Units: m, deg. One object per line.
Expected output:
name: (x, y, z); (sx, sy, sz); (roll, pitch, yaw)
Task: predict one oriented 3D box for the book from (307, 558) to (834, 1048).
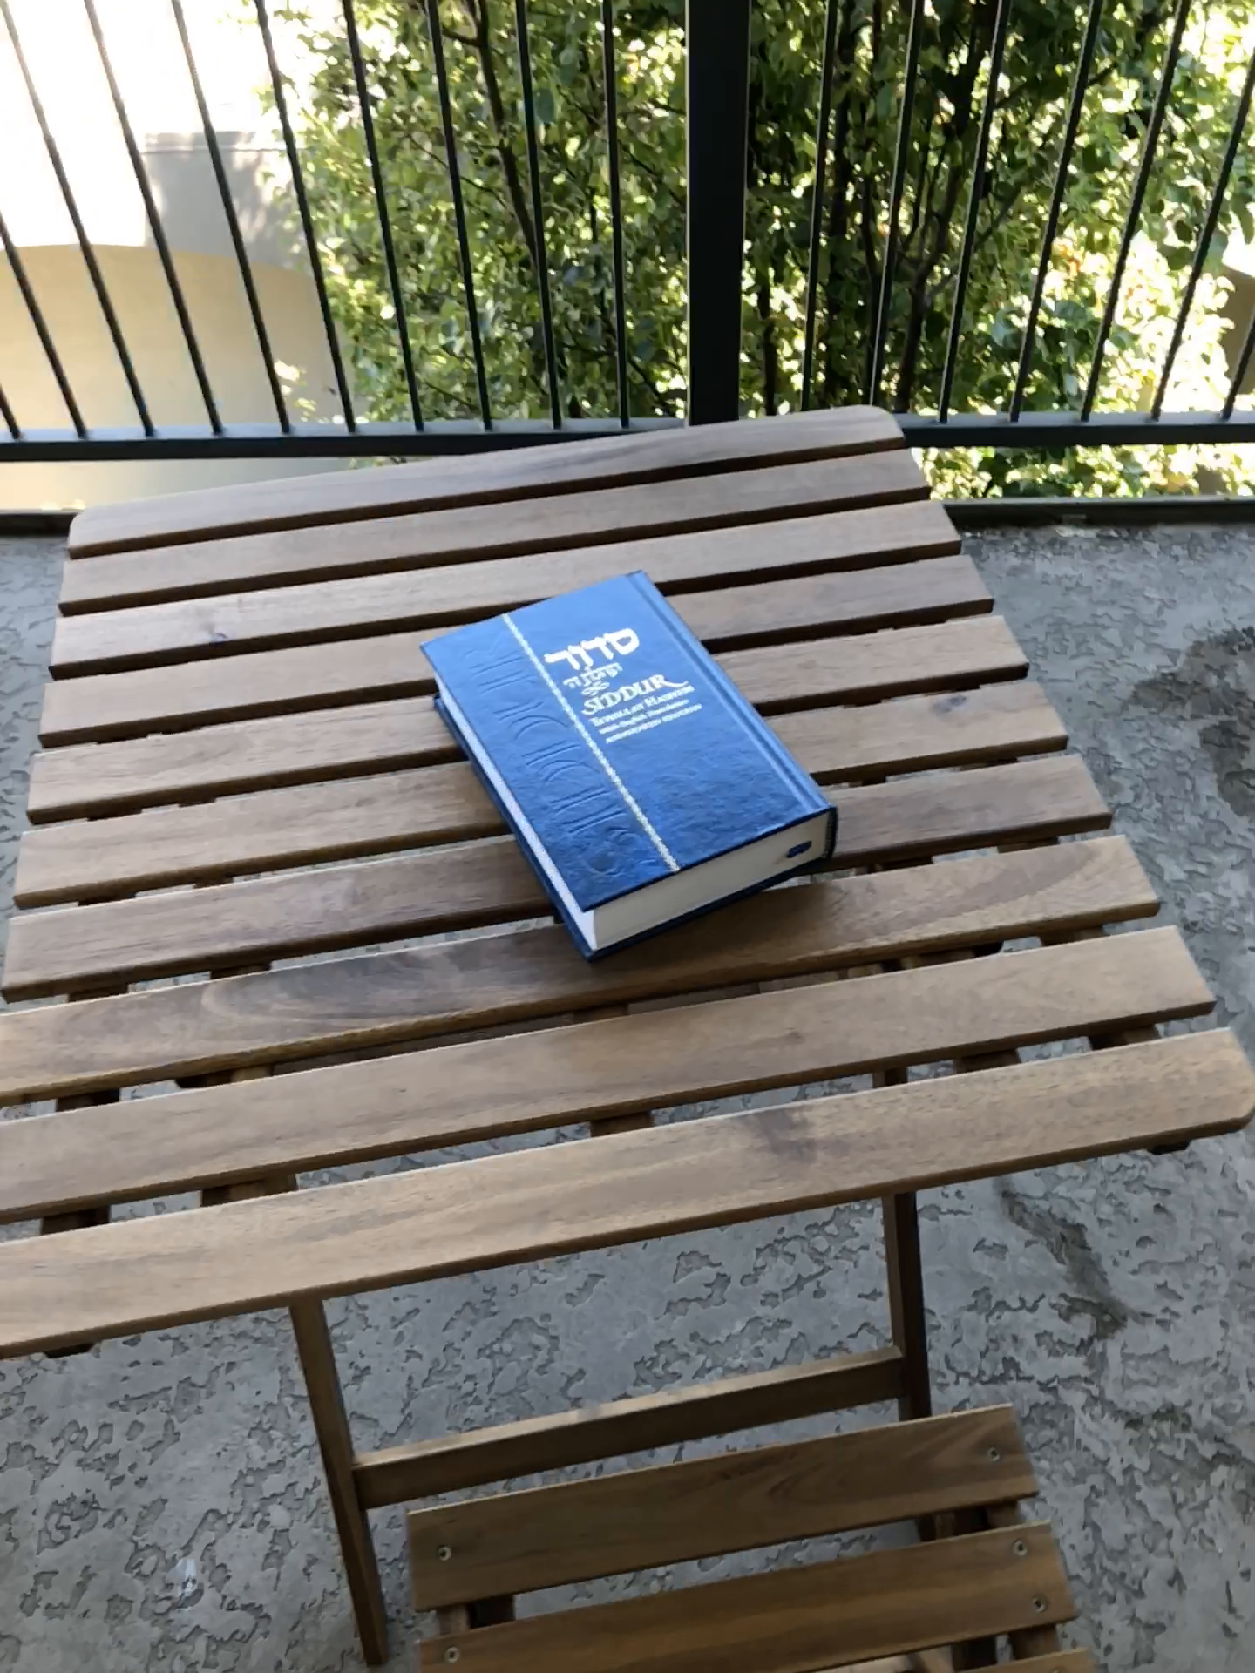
book: (-0.037, -0.031, 0.758); (0.200, 0.070, 0.231); (-22, 52, -16)
